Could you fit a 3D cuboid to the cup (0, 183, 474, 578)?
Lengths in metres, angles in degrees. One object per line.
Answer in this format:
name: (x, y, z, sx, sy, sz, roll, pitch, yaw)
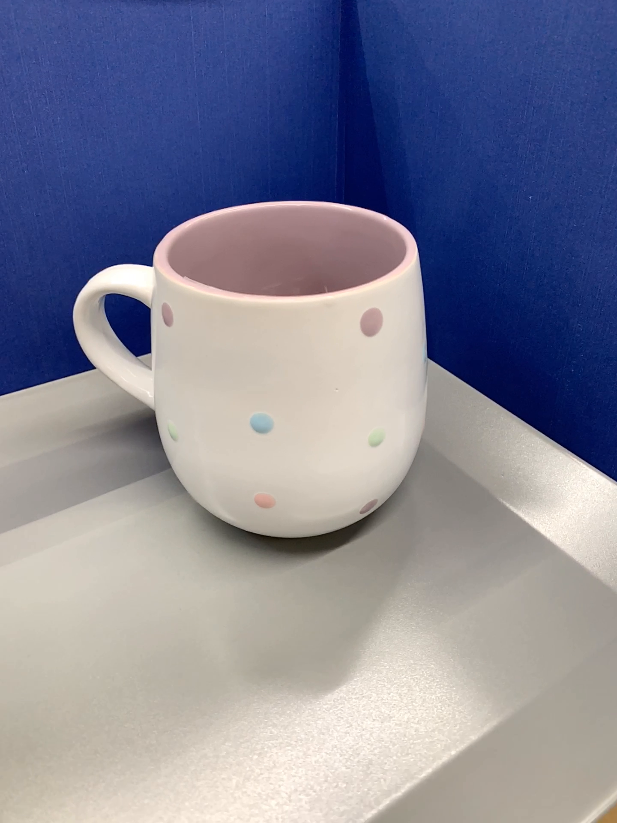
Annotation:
cup: (-0.019, -0.022, 0.240, 0.130, 0.088, 0.097, 13, 35, 18)
